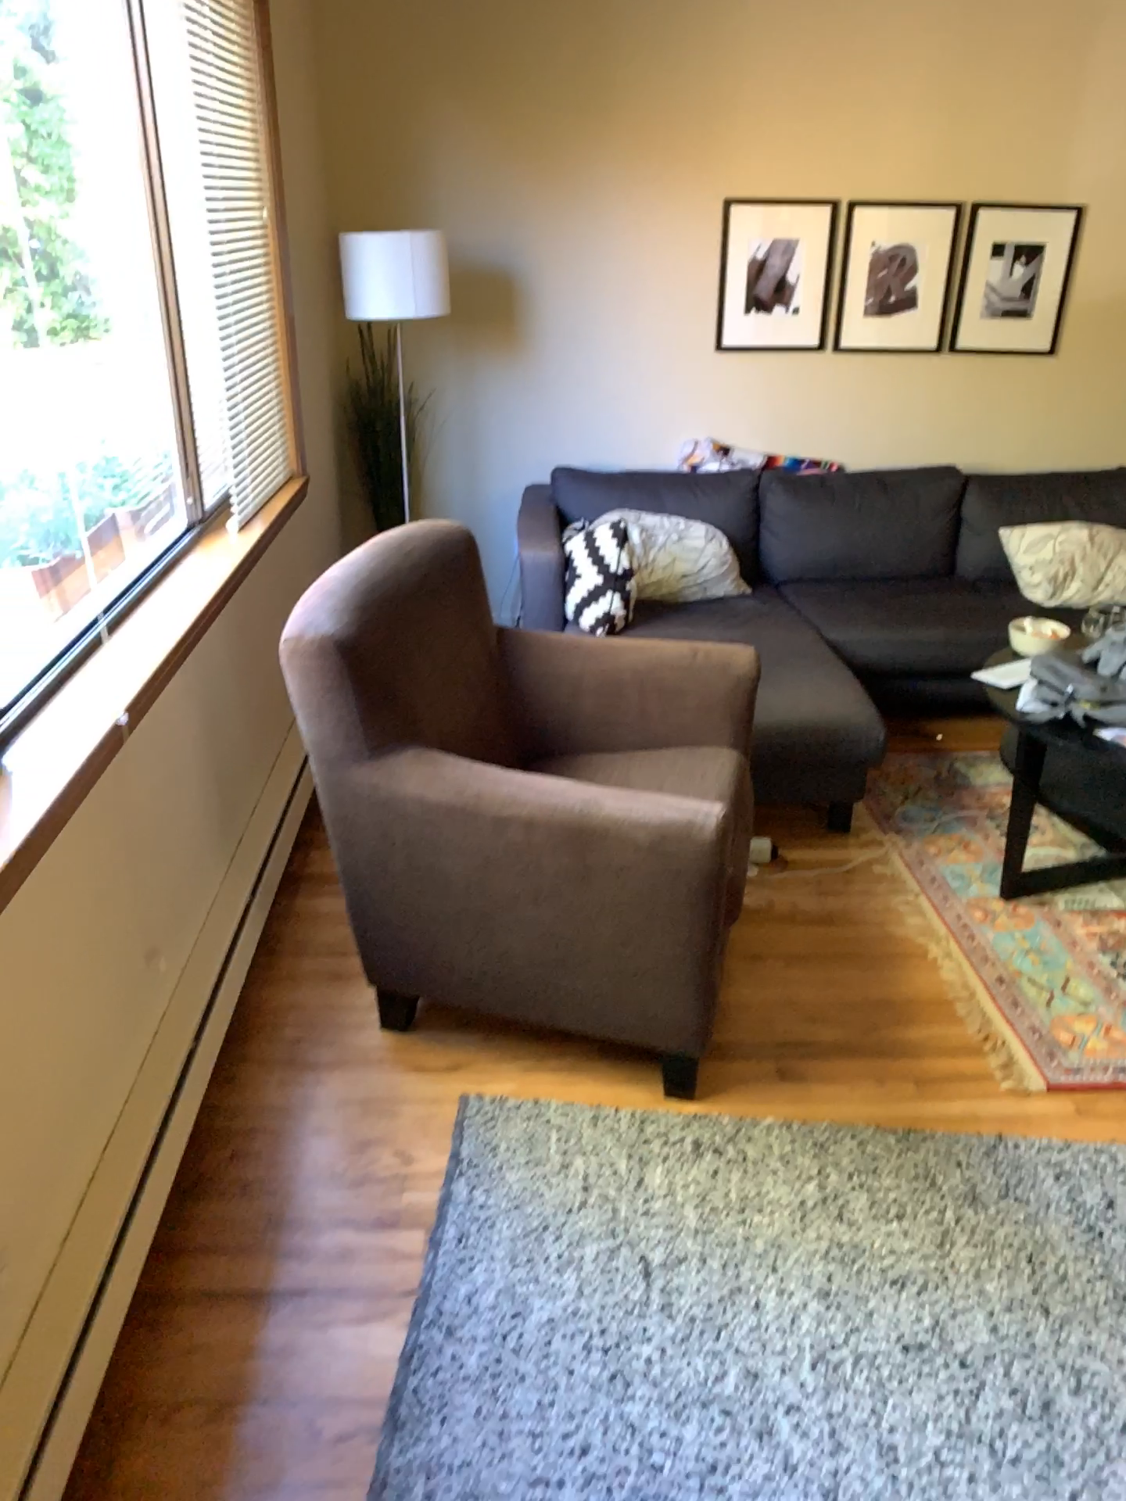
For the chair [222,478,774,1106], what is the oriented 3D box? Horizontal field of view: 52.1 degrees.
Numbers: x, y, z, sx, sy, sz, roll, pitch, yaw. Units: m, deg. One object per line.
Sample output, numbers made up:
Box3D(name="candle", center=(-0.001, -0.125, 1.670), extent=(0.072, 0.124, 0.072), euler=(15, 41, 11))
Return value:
Box3D(name="chair", center=(-0.024, 0.001, 2.245), extent=(0.801, 0.875, 0.884), euler=(3, 25, 11))
